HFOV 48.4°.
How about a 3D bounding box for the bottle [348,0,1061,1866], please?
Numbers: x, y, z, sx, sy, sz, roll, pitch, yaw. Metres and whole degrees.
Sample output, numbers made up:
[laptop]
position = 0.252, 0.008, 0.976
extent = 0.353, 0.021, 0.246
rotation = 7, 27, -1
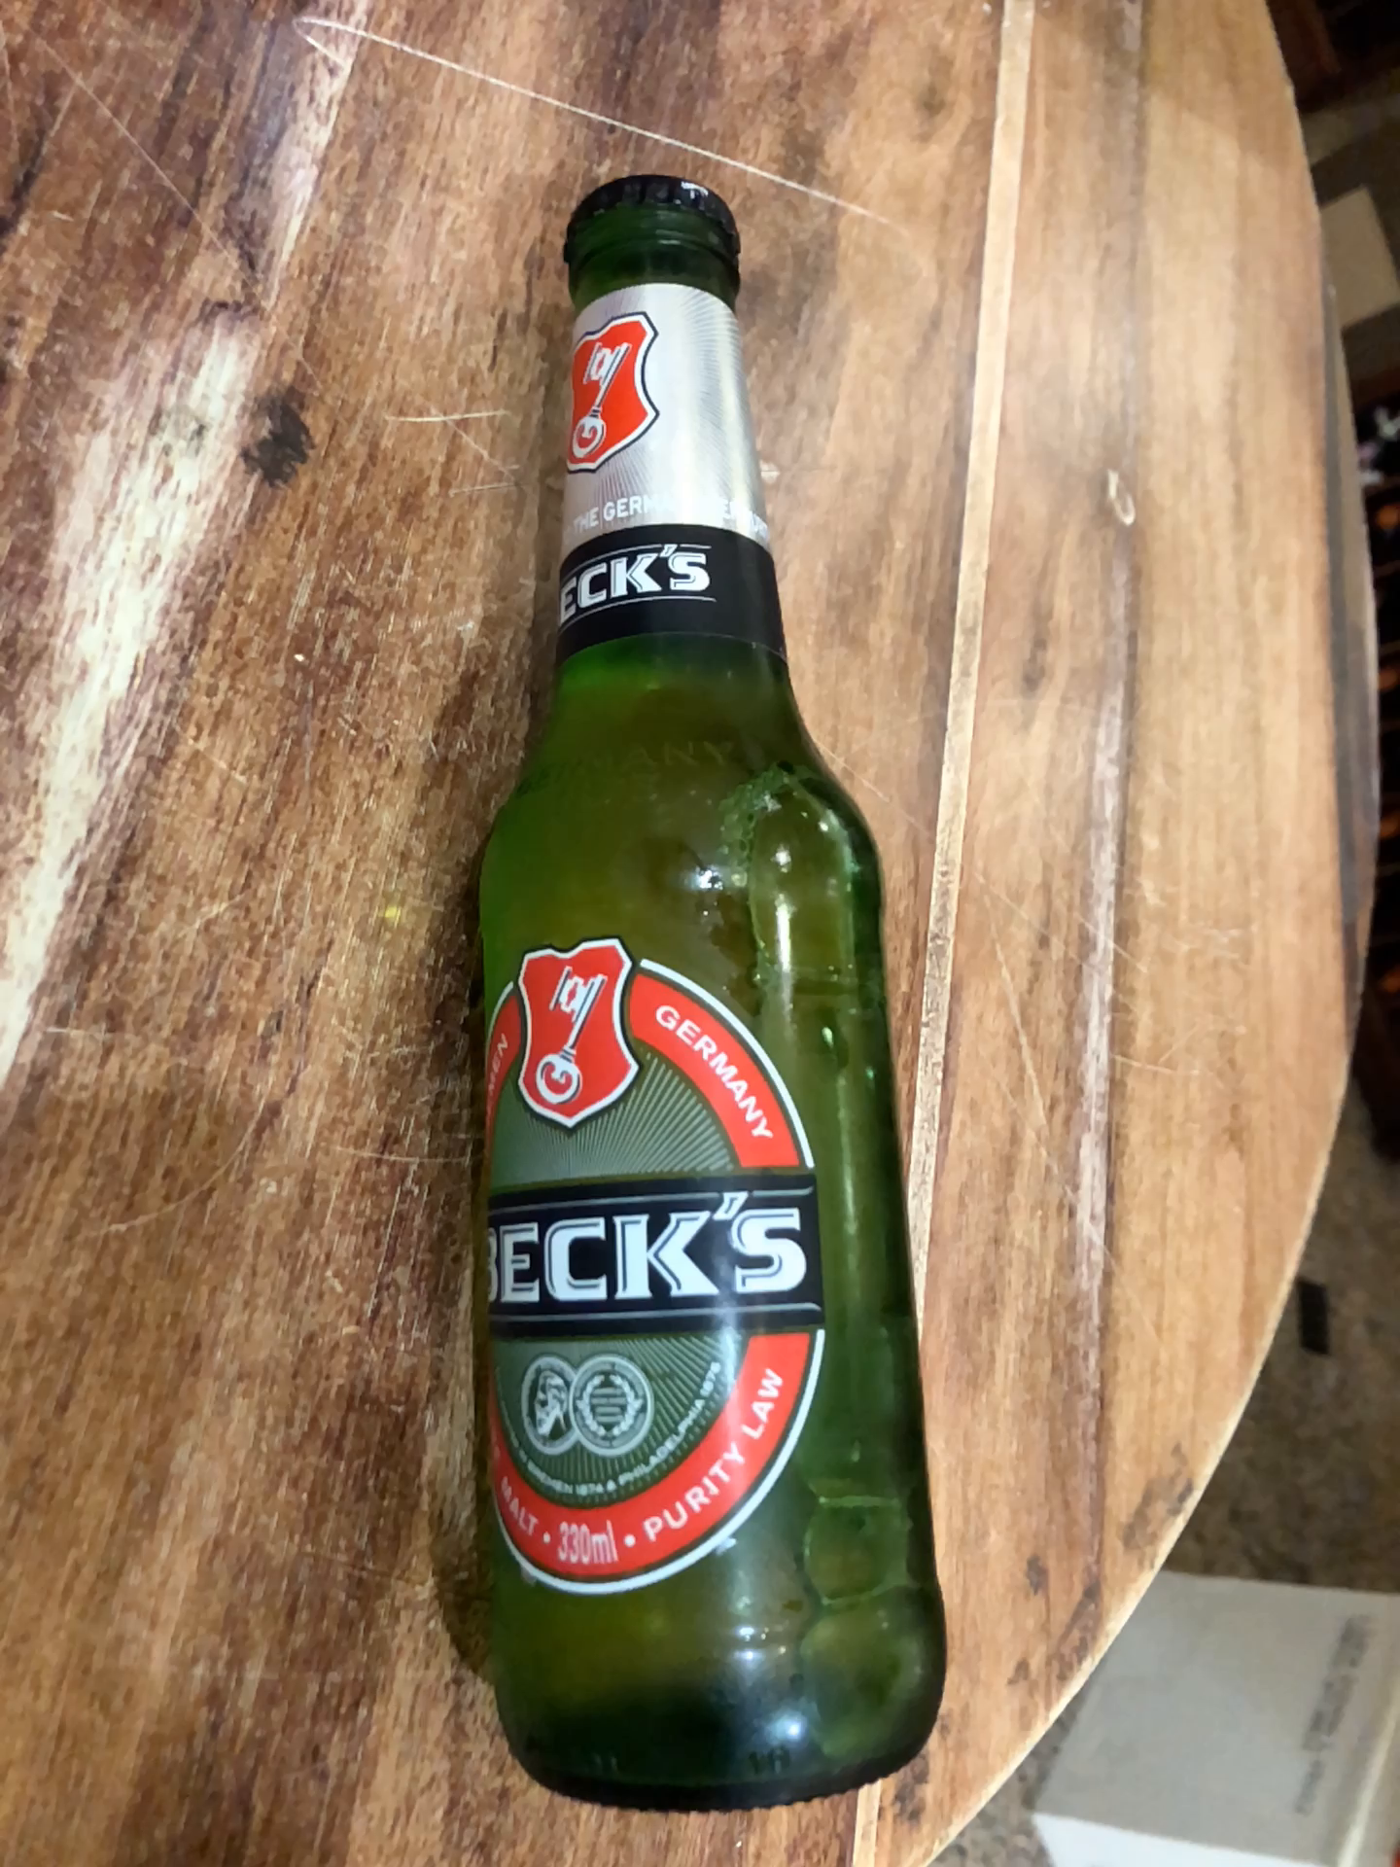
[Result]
[bottle]
position = -0.004, -0.006, 0.226
extent = 0.070, 0.060, 0.230
rotation = 11, 71, -47
